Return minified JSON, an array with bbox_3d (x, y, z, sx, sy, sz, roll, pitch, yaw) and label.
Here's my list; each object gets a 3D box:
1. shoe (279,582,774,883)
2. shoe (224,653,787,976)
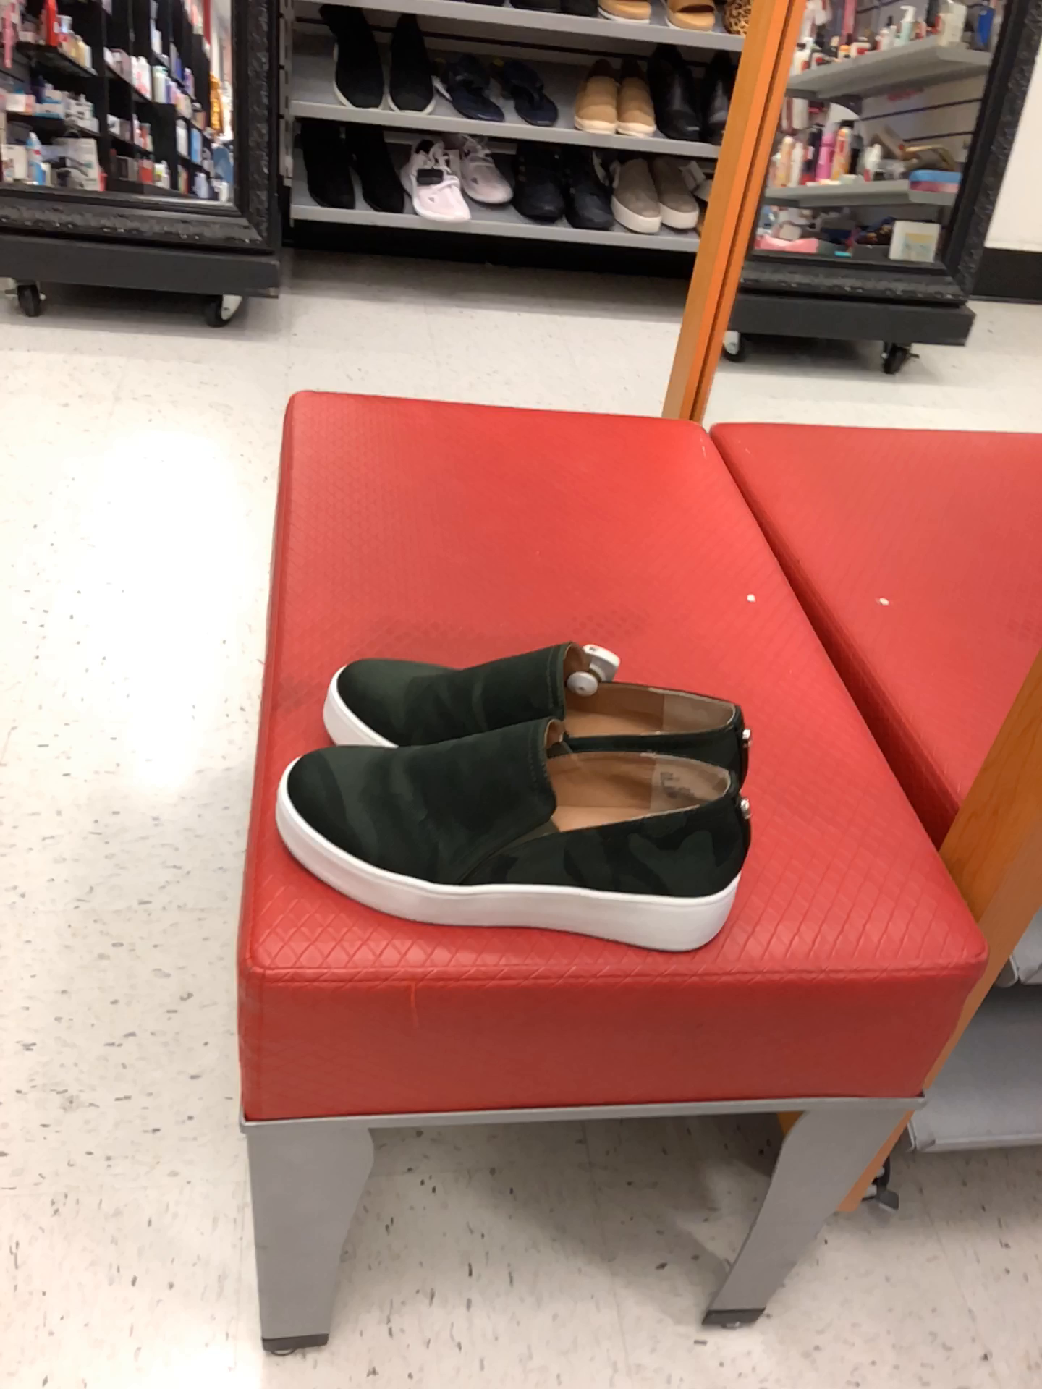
[{"bbox_3d":[0.001,0.020,0.684,0.276,0.086,0.077,14,37,7],"label":"shoe"},{"bbox_3d":[-0.008,0.063,0.623,0.276,0.086,0.106,9,37,0],"label":"shoe"}]
